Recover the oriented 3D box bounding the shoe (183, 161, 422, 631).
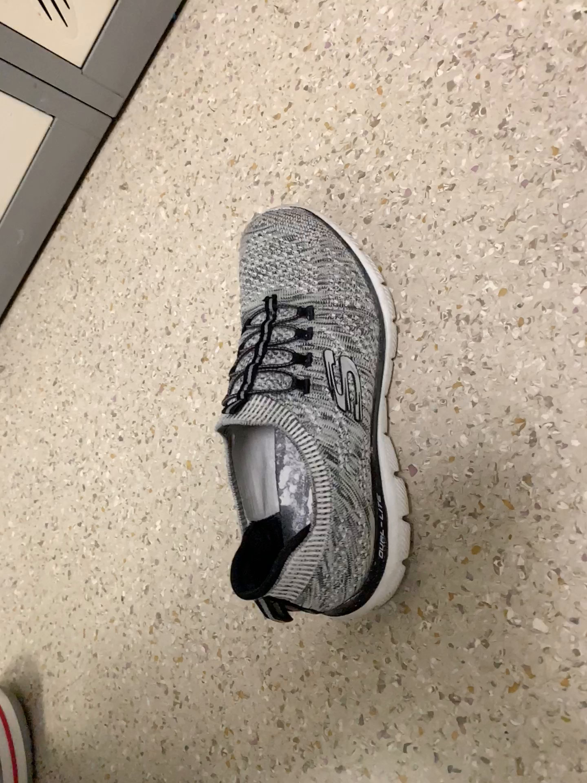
[{"bbox_3d":[0.003,0.006,0.368,0.094,0.093,0.241,-11,78,36],"label":"shoe"}]
